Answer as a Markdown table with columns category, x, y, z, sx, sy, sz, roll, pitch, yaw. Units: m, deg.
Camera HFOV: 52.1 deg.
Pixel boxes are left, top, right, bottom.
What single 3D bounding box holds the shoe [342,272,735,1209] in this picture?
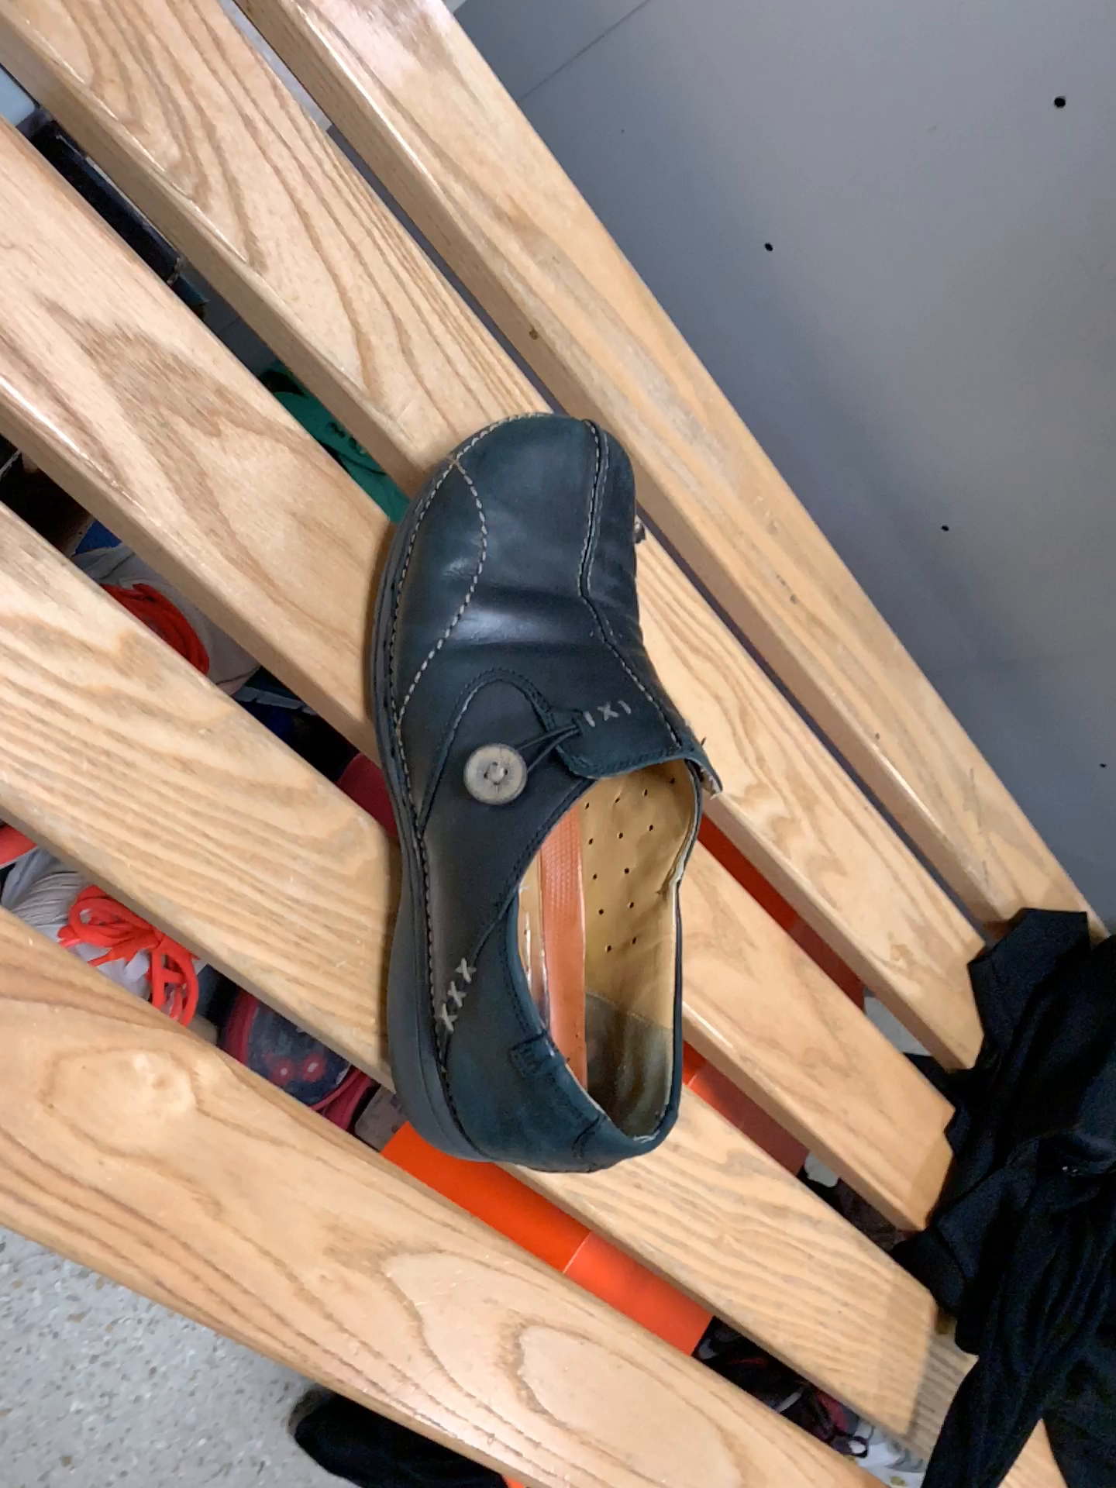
| category | x | y | z | sx | sy | sz | roll | pitch | yaw |
| --- | --- | --- | --- | --- | --- | --- | --- | --- | --- |
| shoe | -0.005 | -0.001 | 0.386 | 0.104 | 0.075 | 0.268 | 5 | 82 | -41 |
